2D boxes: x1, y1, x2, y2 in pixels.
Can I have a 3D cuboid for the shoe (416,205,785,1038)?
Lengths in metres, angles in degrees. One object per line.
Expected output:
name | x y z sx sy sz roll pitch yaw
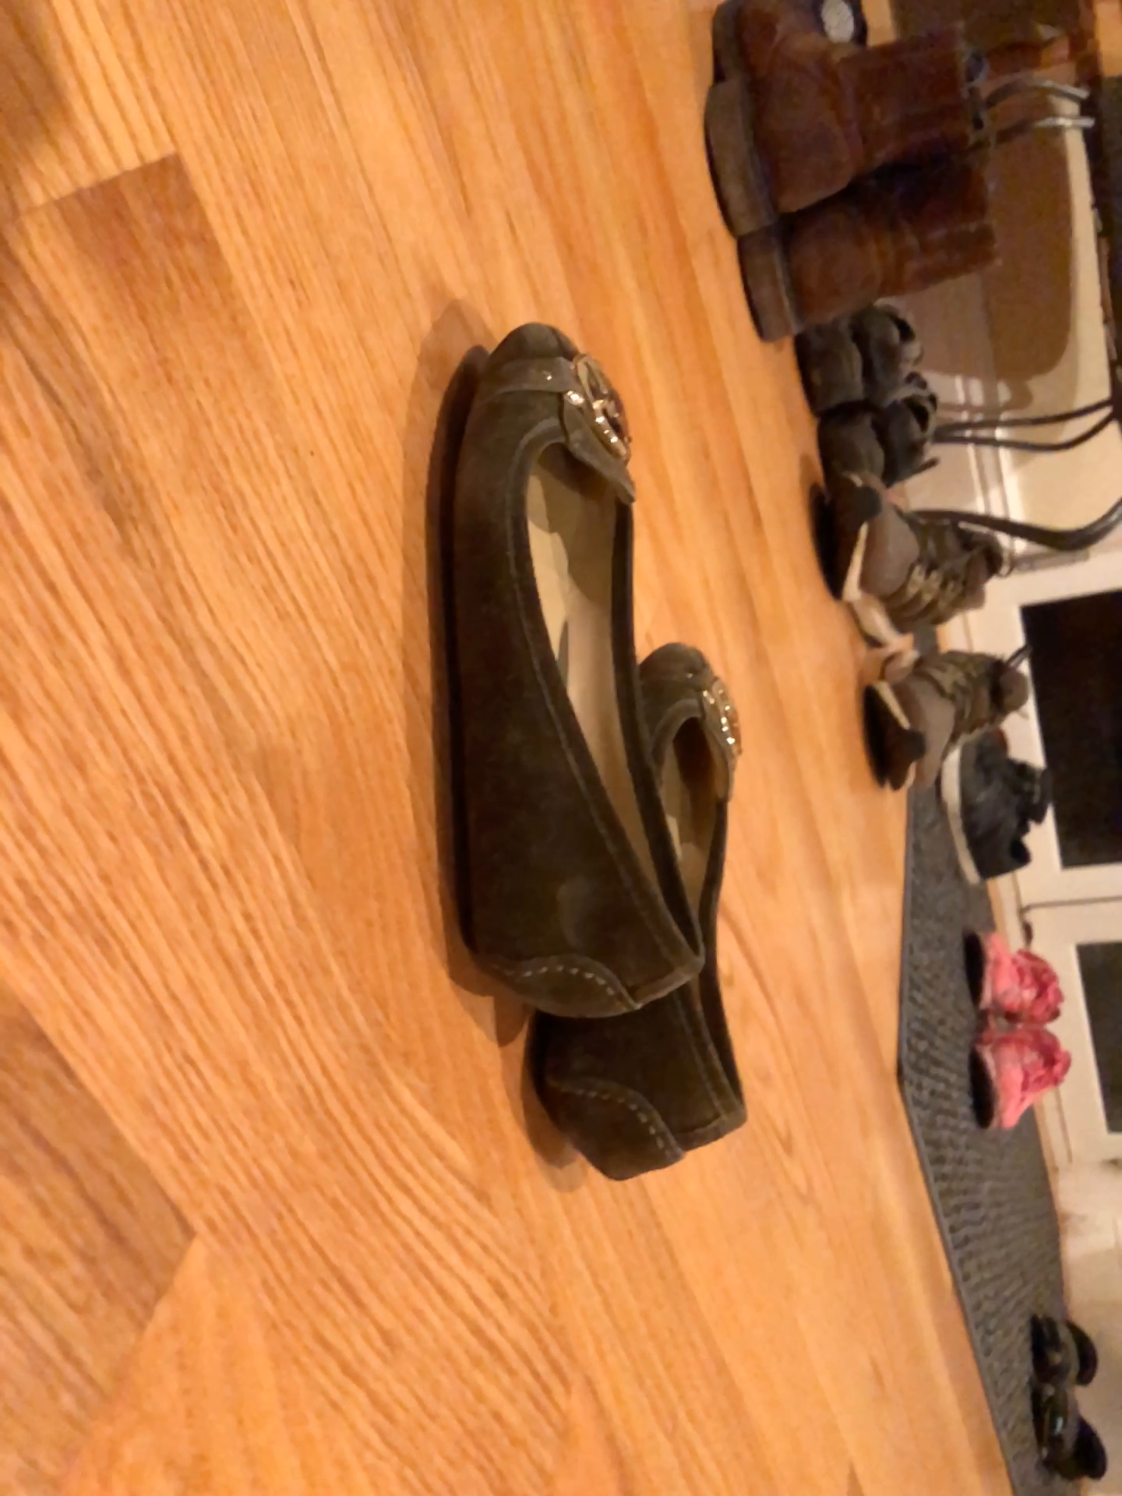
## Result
shoe | 0.014 -0.035 0.402 0.091 0.079 0.242 35 50 -60

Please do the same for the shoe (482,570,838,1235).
shoe | 0.052 0.047 0.470 0.240 0.079 0.091 -75 148 -44
